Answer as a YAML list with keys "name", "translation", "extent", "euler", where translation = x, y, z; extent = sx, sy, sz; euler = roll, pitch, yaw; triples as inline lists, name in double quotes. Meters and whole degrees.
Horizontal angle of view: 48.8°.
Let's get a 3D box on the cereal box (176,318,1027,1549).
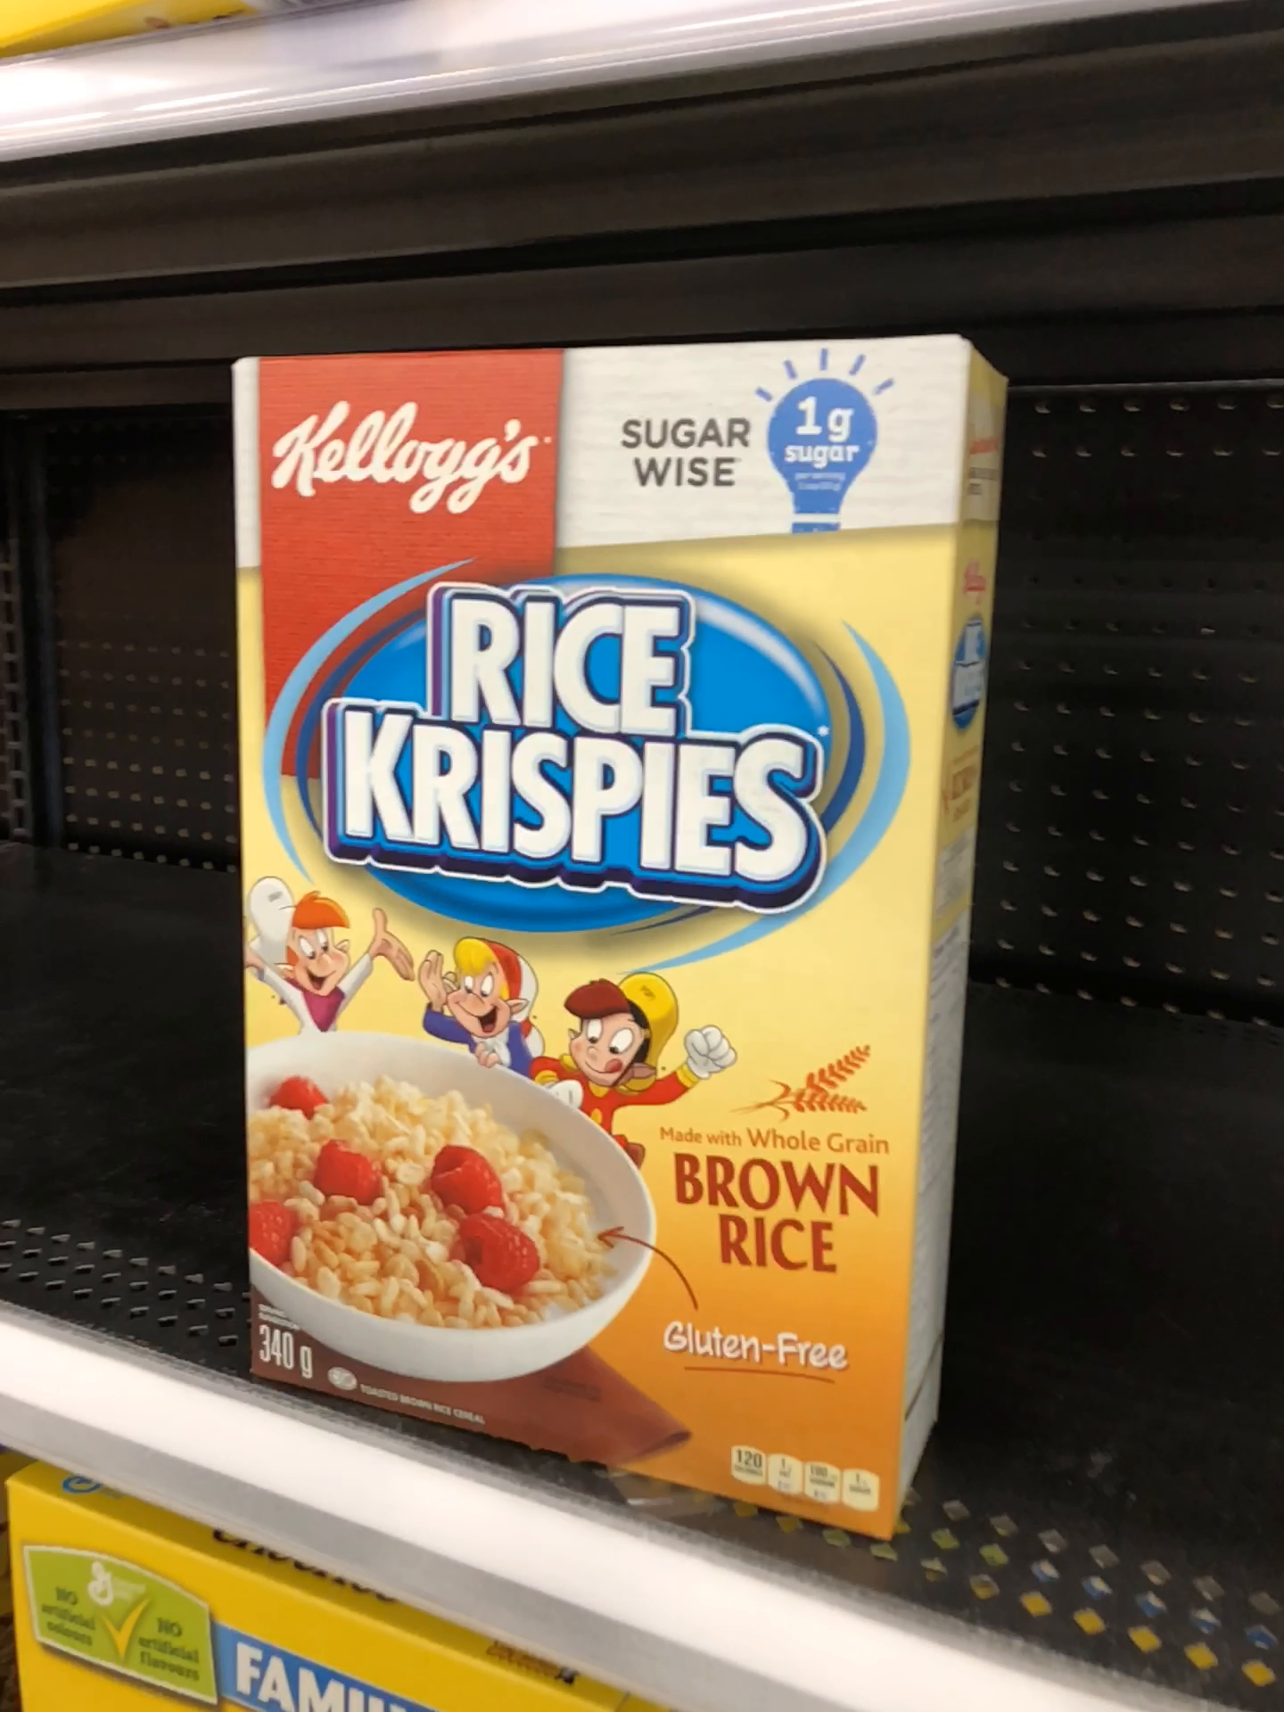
- name: "cereal box"
  translation: [-0.016, 0.014, 0.387]
  extent: [0.210, 0.289, 0.060]
  euler: [5, 11, 20]
